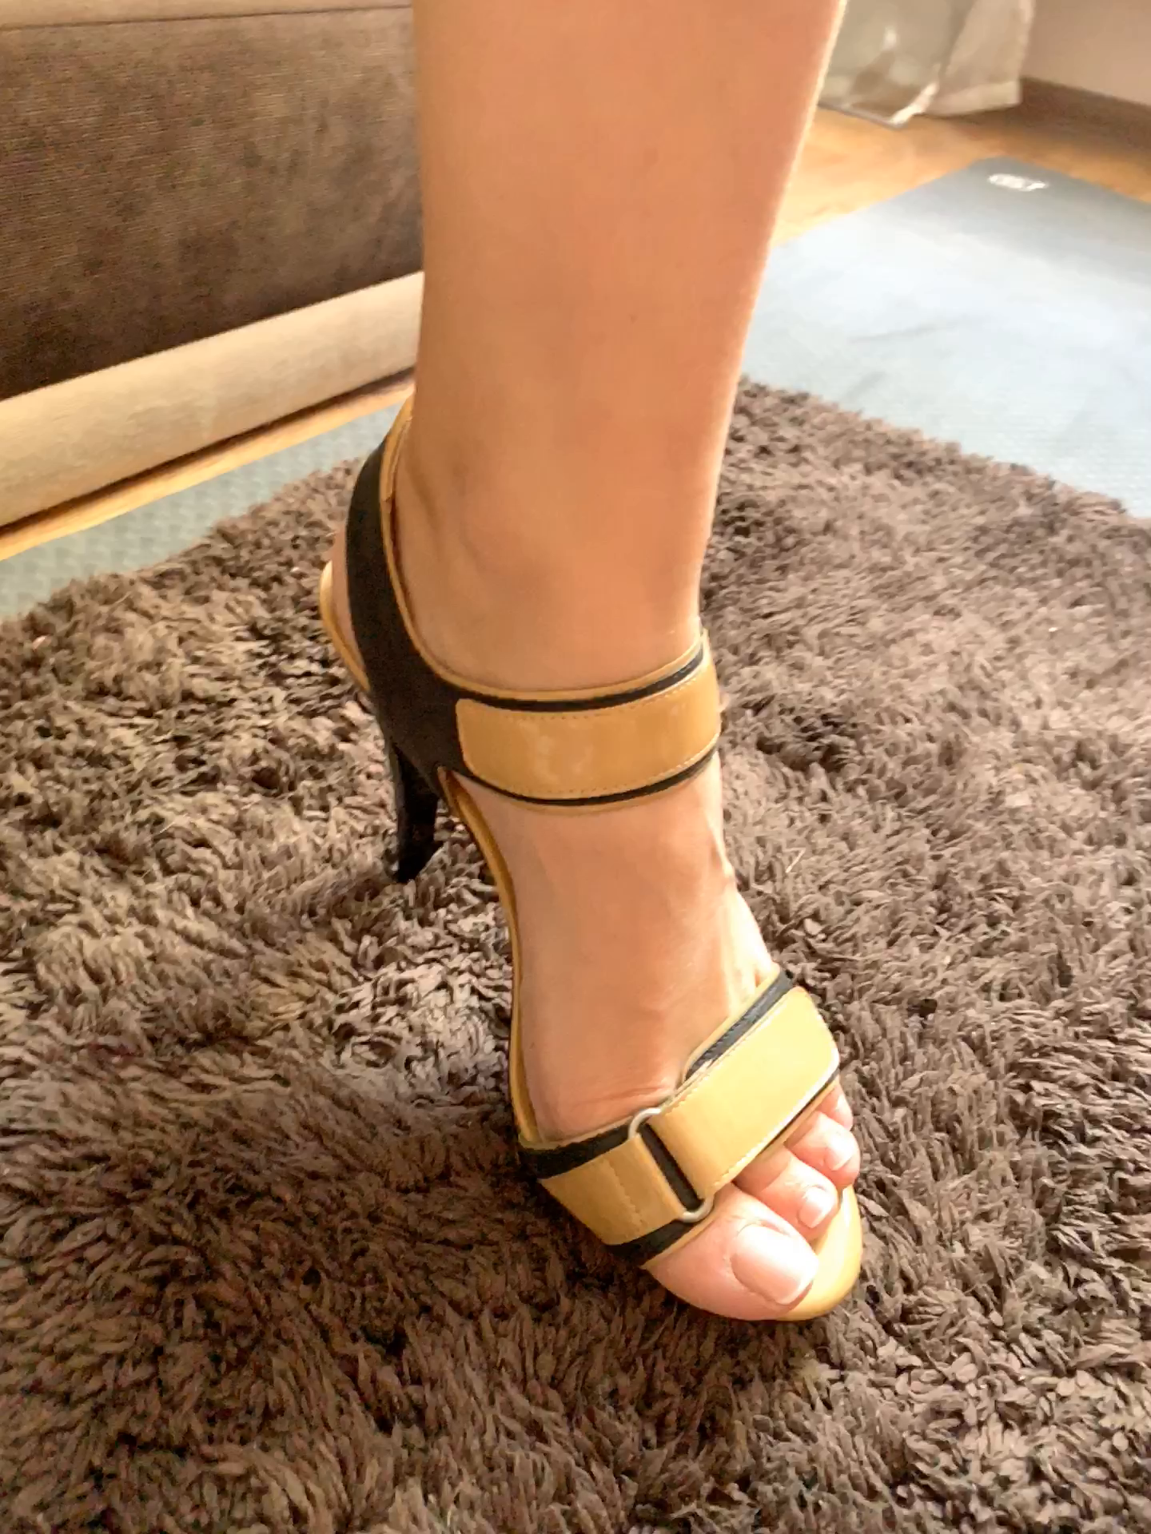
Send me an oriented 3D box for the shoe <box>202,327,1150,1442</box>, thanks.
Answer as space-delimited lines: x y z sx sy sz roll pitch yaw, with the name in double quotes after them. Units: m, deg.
0.009 0.013 0.278 0.090 0.149 0.201 -26 51 -36 "shoe"
